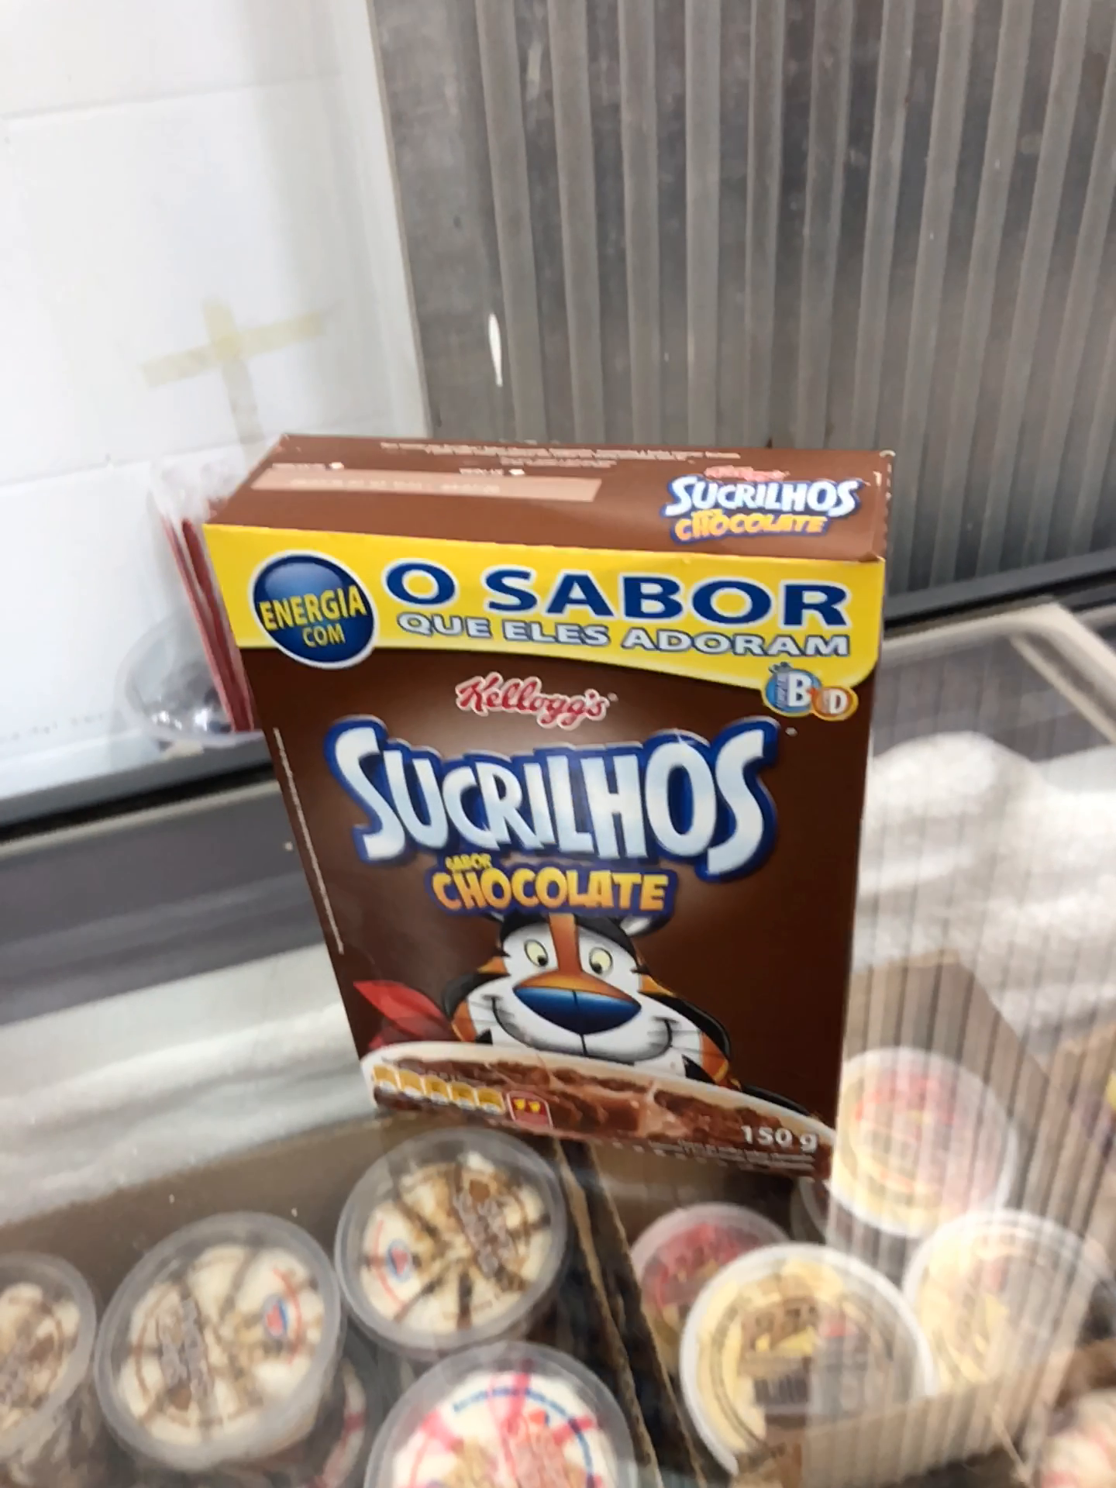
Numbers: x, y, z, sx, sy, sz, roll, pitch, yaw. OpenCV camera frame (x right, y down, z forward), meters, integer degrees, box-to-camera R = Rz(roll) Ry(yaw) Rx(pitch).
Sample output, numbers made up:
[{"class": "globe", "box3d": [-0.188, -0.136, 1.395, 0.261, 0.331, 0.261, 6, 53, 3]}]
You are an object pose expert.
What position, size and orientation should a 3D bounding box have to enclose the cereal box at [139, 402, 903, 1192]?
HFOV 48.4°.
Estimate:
[{"class": "cereal box", "box3d": [0.001, 0.023, 0.320, 0.150, 0.209, 0.050, 5, 40, 13]}]
